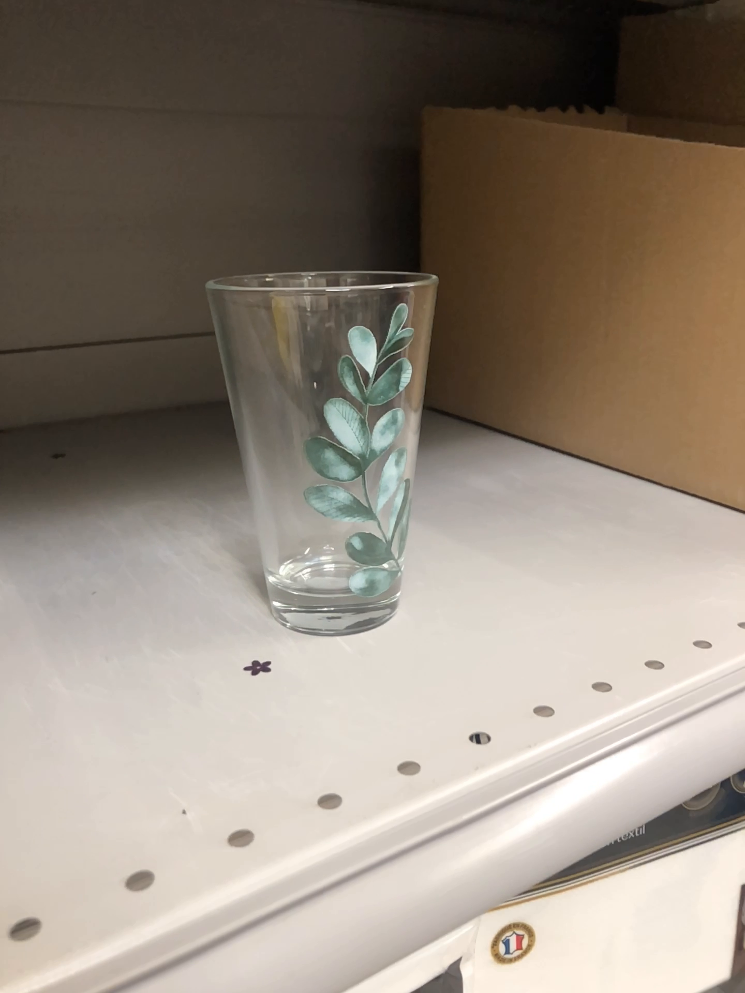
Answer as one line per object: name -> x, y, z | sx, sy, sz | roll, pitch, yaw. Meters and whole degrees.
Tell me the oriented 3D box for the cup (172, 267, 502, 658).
cup -> -0.013, -0.021, 0.297 | 0.083, 0.114, 0.083 | -2, 17, 0
